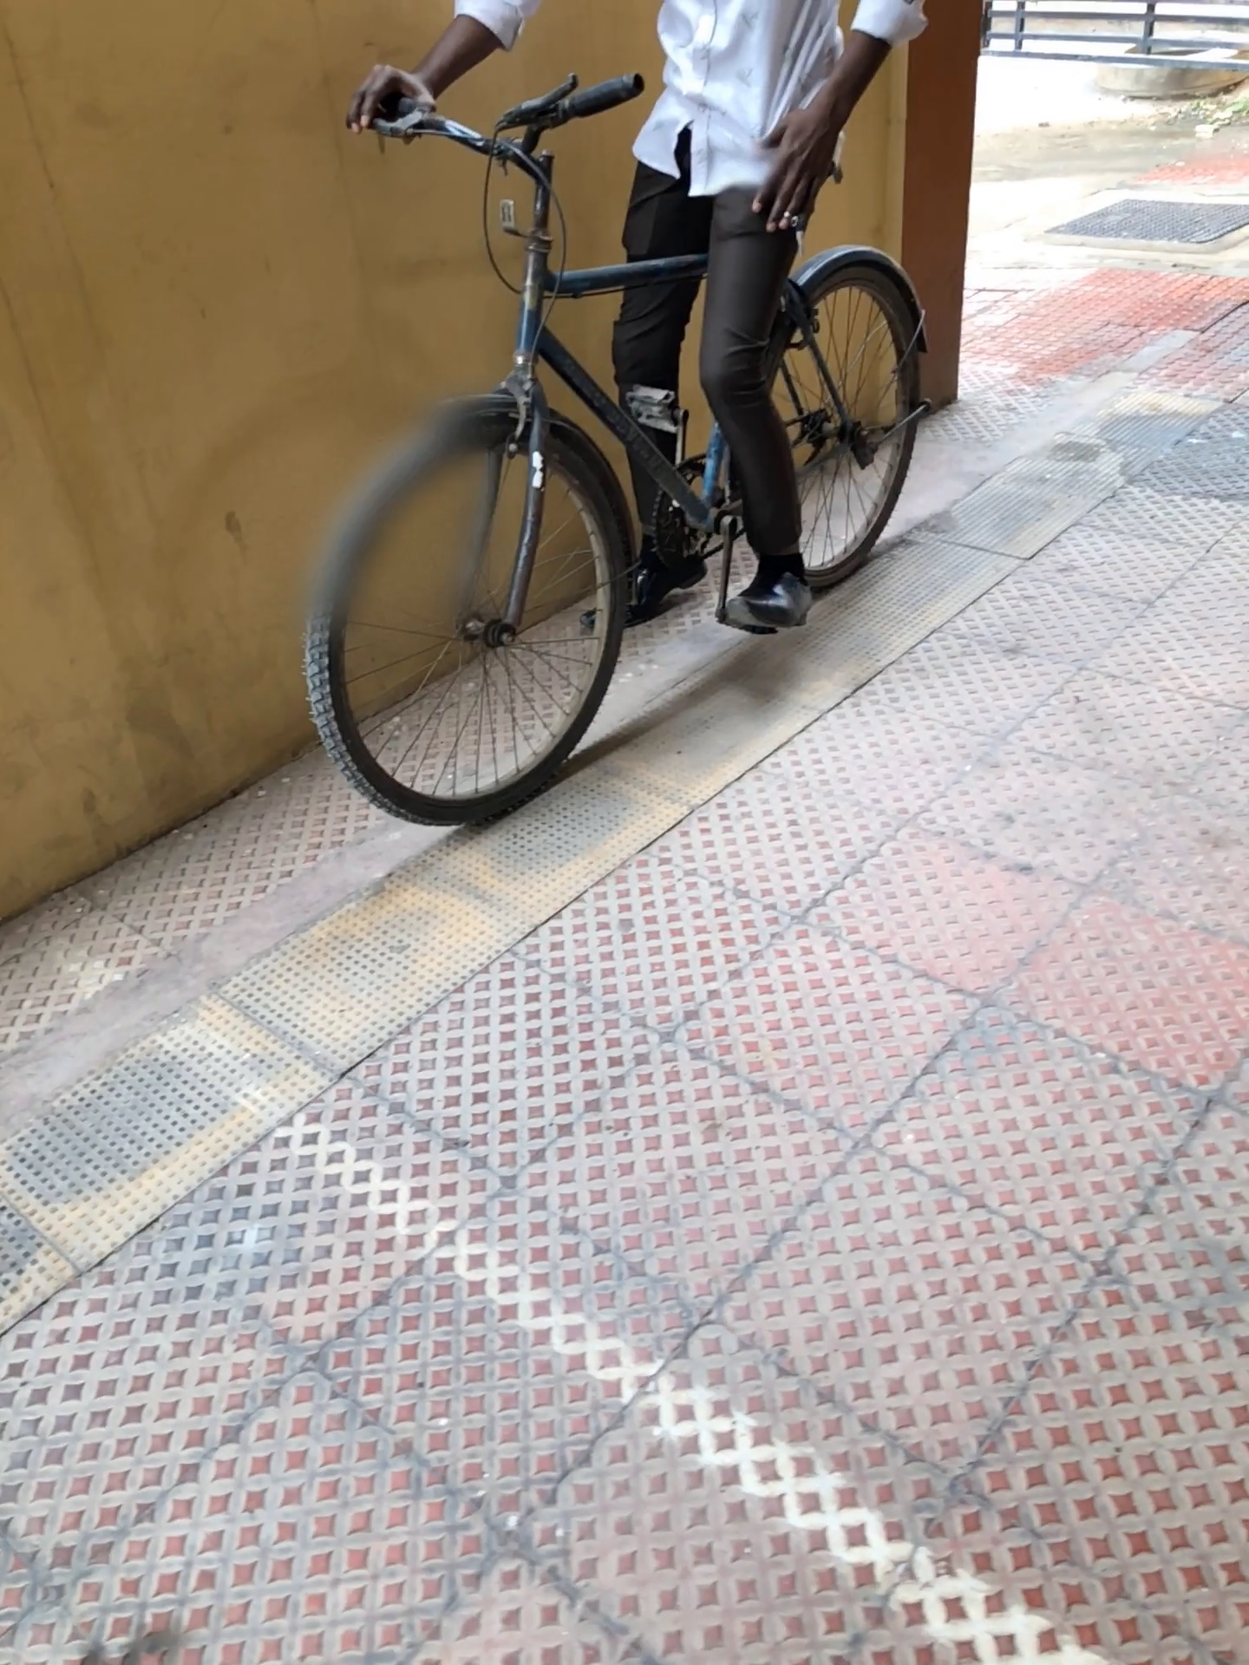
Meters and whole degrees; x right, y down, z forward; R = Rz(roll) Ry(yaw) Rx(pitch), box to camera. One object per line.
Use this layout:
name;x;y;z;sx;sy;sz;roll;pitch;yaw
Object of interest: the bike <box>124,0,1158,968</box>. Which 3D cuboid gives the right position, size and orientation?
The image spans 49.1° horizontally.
bike;0.176;-0.703;2.143;0.589;1.024;1.580;25;42;35
